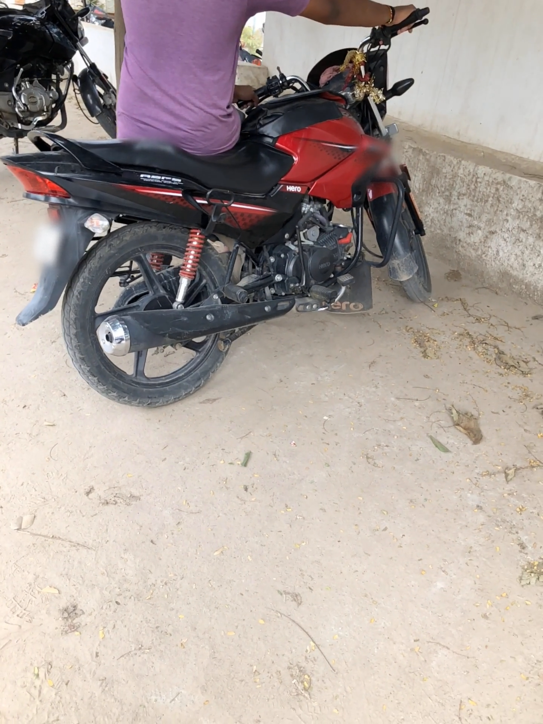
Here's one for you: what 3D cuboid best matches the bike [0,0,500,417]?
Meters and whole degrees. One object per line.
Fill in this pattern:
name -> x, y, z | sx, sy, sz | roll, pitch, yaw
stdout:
bike -> -0.029, -0.855, 2.207 | 0.741, 1.086, 1.708 | 29, 44, 35
